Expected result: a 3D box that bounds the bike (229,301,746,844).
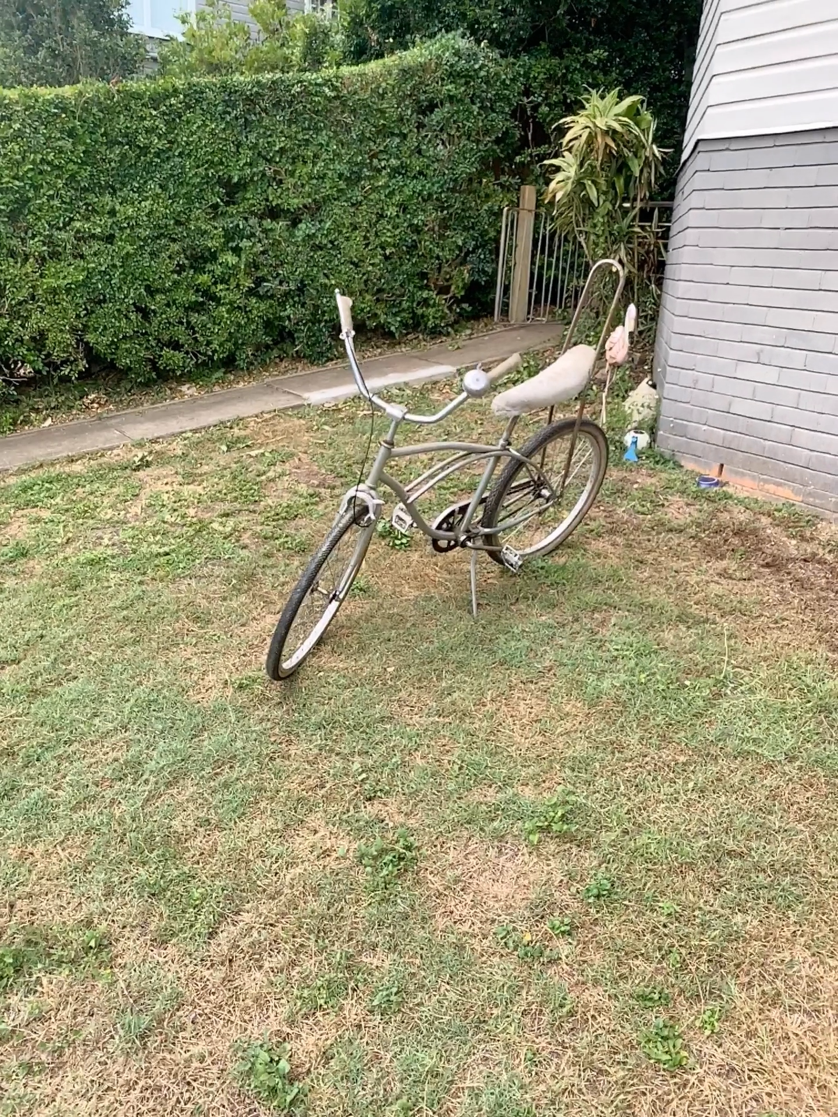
[{"bbox_3d":[0.250,-0.137,2.884,1.603,0.991,0.802,-25,32,-37],"label":"bike"}]
